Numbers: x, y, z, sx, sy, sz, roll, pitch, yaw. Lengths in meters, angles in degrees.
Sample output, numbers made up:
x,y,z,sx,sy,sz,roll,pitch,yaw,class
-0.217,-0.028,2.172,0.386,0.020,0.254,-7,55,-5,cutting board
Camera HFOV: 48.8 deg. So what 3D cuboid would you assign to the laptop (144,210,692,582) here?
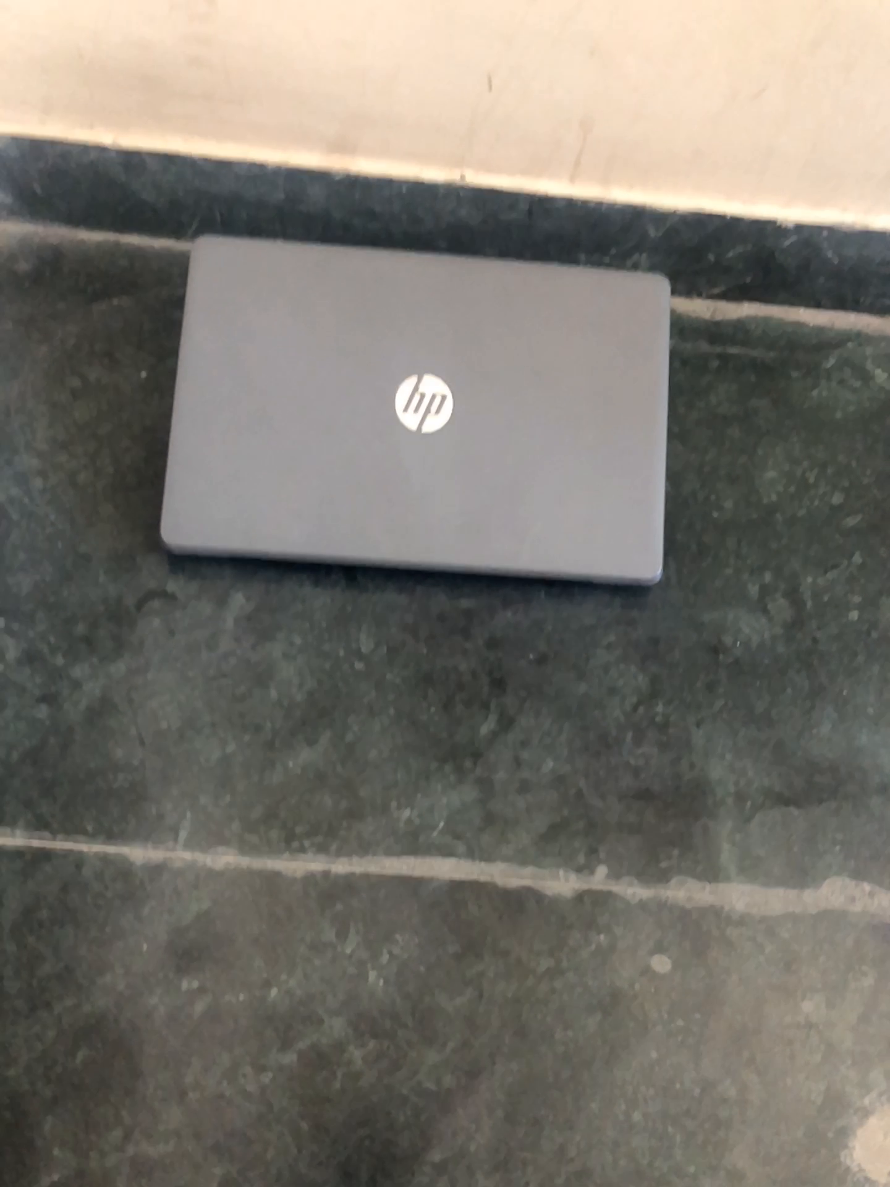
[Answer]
x,y,z,sx,sy,sz,roll,pitch,yaw,class
-0.014,-0.150,0.735,0.357,0.092,0.244,4,61,-2,laptop
